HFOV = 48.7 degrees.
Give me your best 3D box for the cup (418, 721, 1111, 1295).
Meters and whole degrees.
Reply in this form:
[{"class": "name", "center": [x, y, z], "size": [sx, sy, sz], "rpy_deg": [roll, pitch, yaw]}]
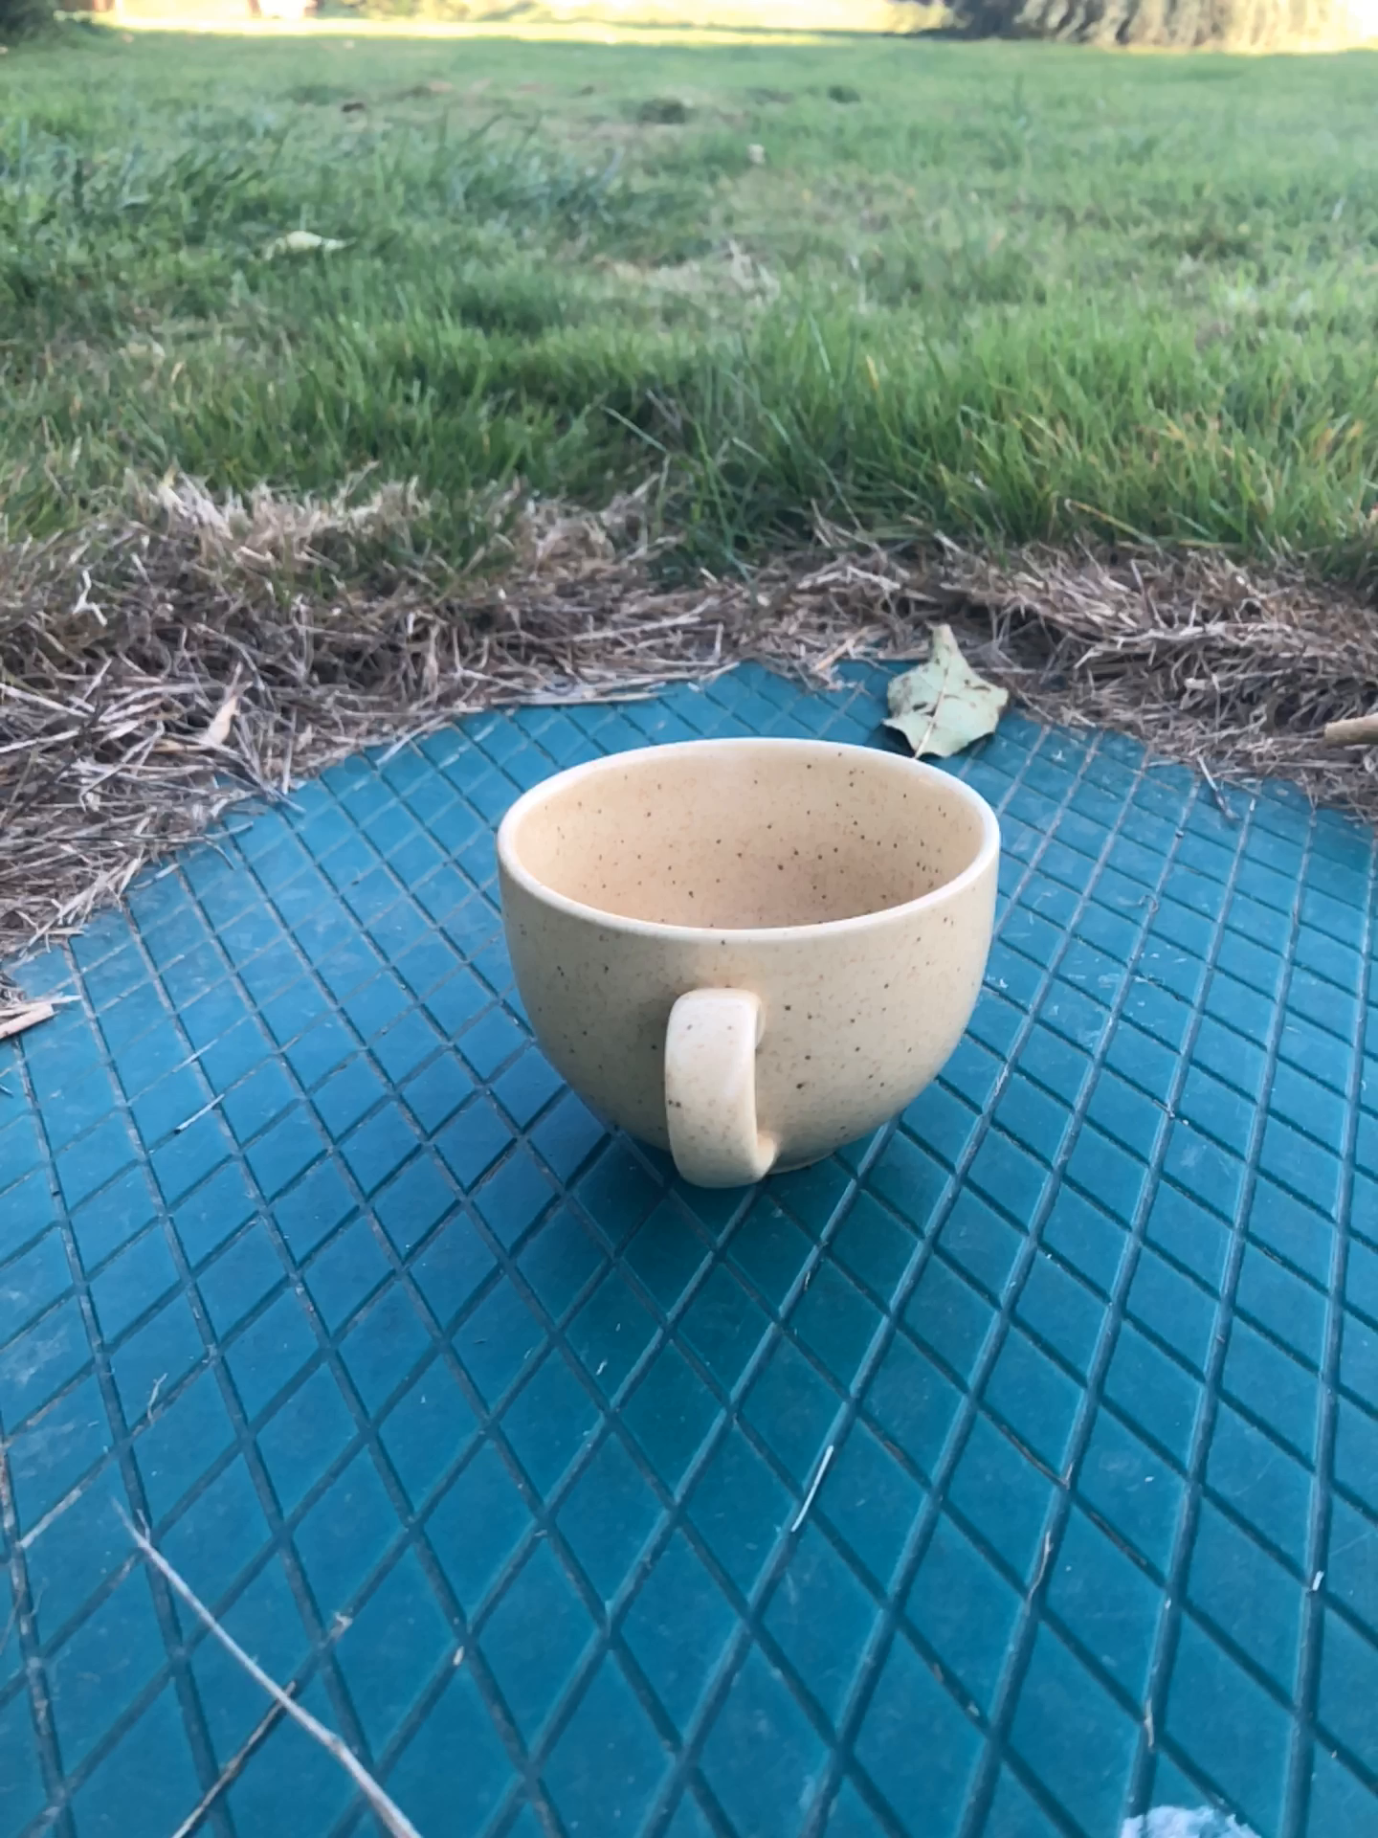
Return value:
[{"class": "cup", "center": [0.018, 0.012, 0.349], "size": [0.124, 0.065, 0.143], "rpy_deg": [0, 28, 4]}]
